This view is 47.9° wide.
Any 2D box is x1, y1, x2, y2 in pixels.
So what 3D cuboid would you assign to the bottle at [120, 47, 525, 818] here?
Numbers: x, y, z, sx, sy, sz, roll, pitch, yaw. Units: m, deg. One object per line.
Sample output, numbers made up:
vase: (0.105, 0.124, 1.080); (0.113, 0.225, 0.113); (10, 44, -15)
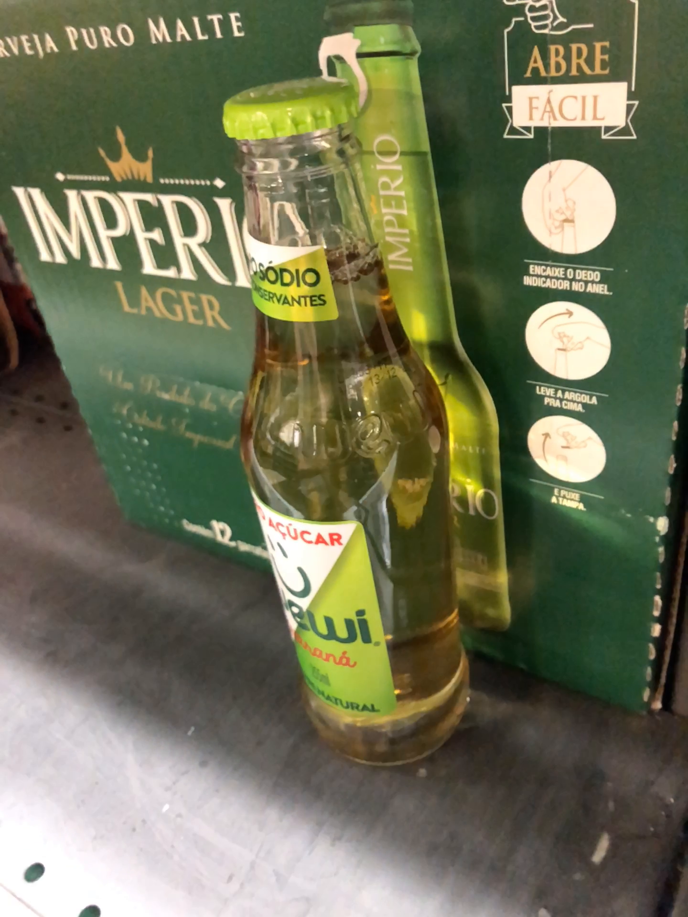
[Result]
bottle: (0.007, 0.005, 0.209); (0.050, 0.198, 0.060); (-34, 41, -30)
